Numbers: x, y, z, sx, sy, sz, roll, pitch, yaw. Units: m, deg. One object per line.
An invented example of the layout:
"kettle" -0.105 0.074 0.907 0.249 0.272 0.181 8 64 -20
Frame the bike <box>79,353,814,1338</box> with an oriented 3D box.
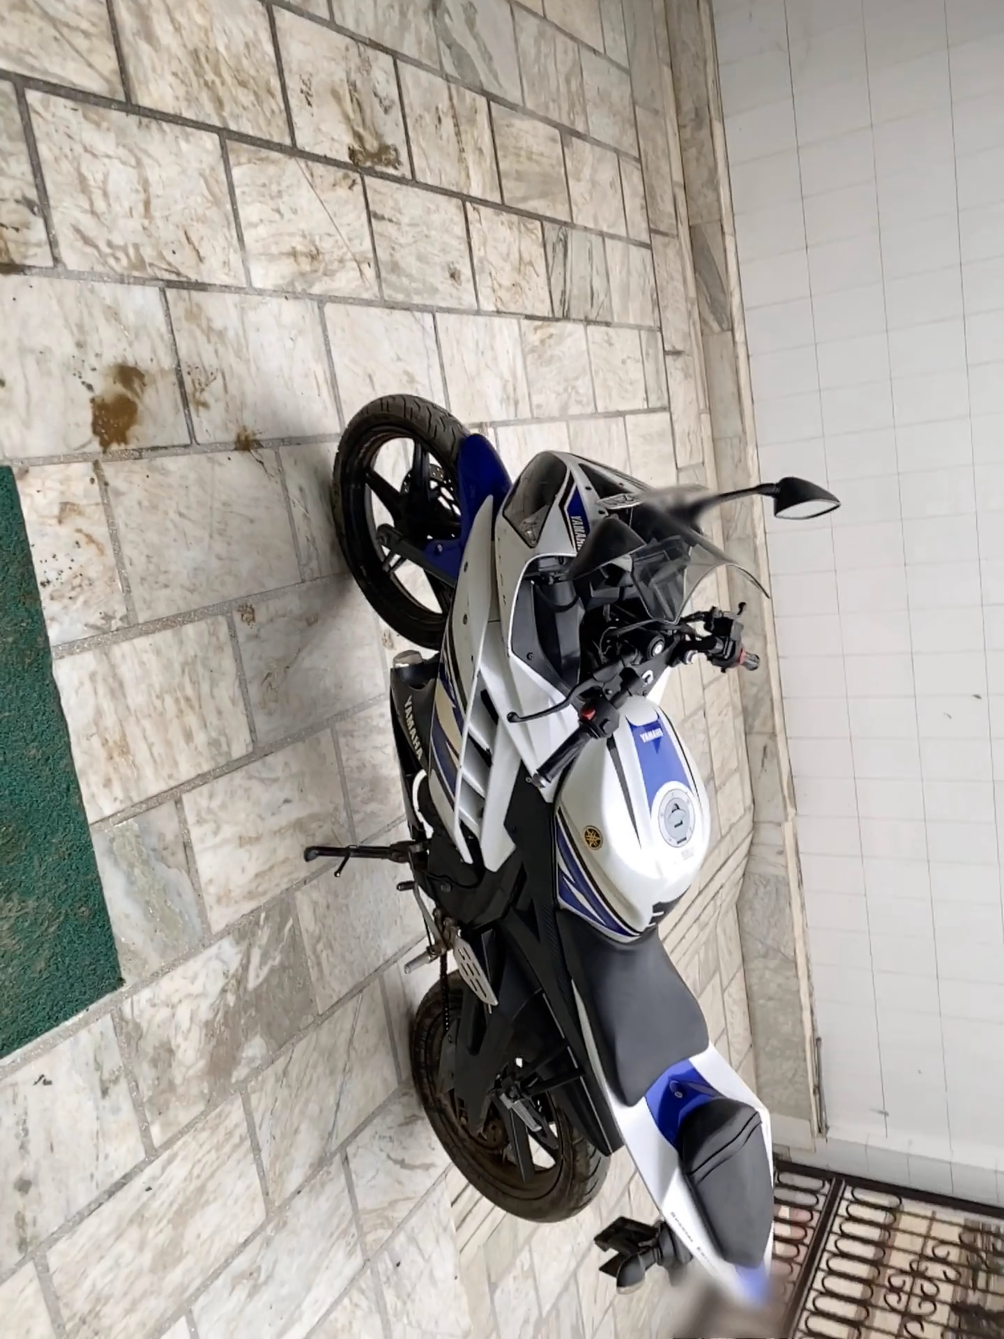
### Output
"bike" -0.057 0.368 2.178 0.737 0.902 1.881 -22 102 -57
